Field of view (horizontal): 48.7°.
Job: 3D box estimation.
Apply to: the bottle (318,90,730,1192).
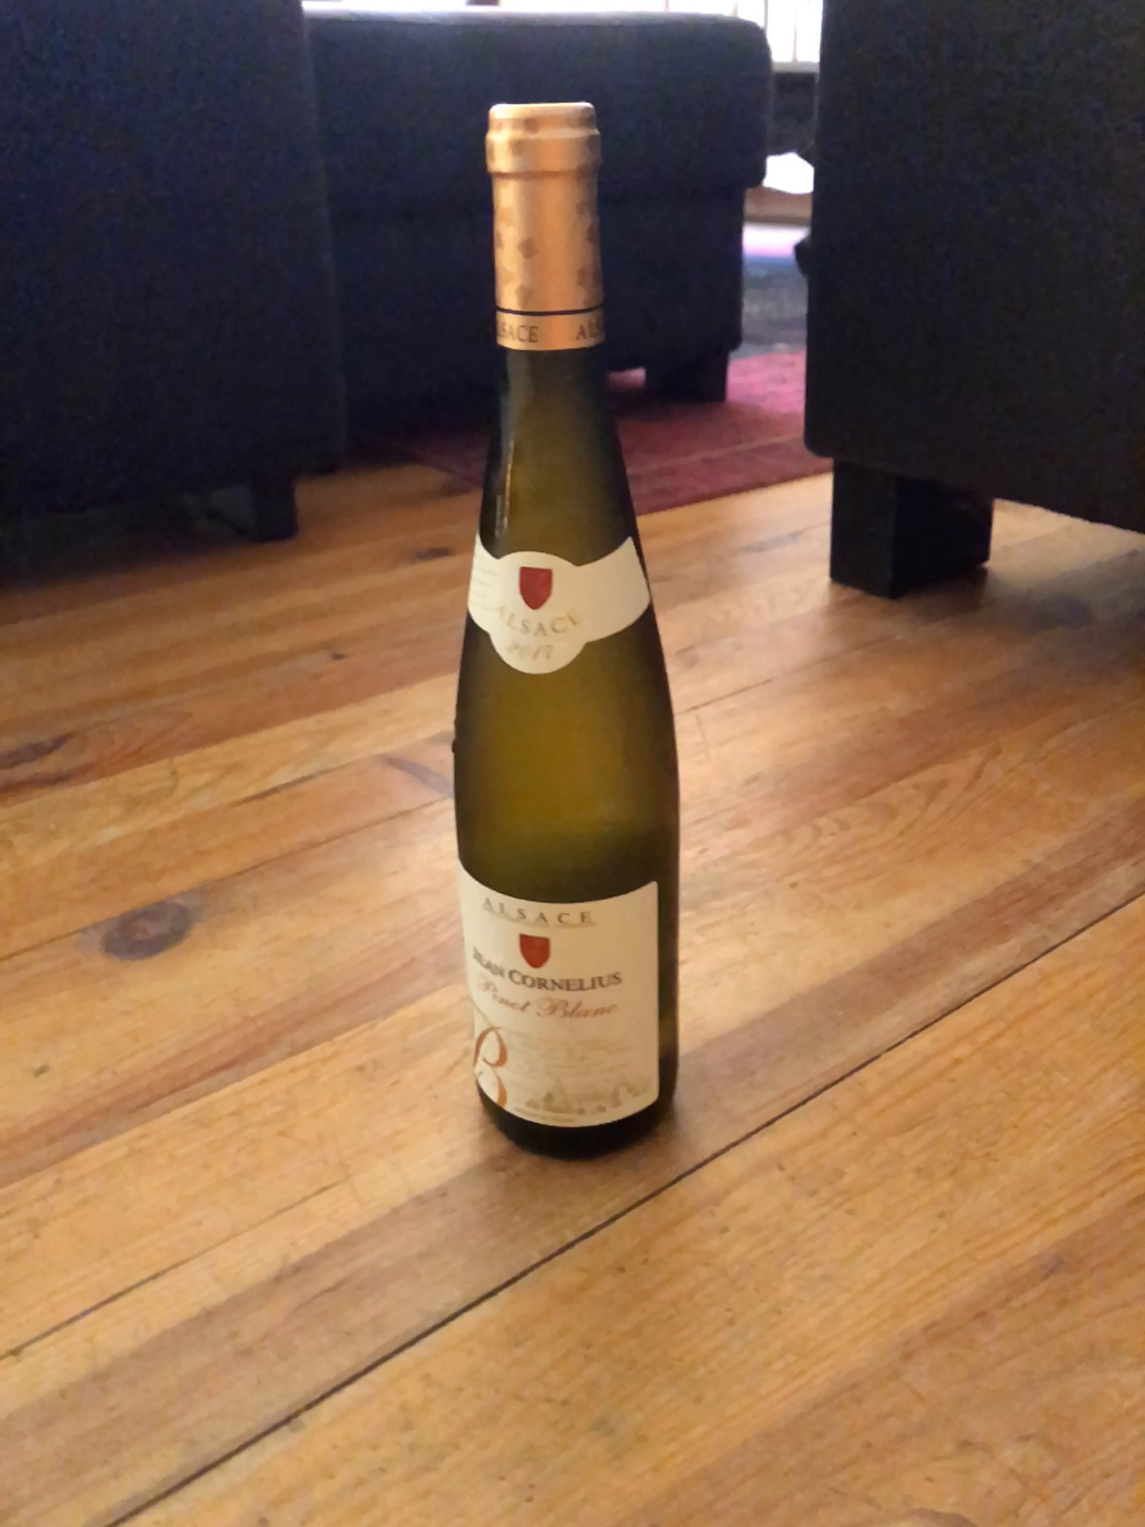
[{"bbox_3d":[-0.004,-0.025,0.387,0.080,0.318,0.081,-2,27,1],"label":"bottle"}]
